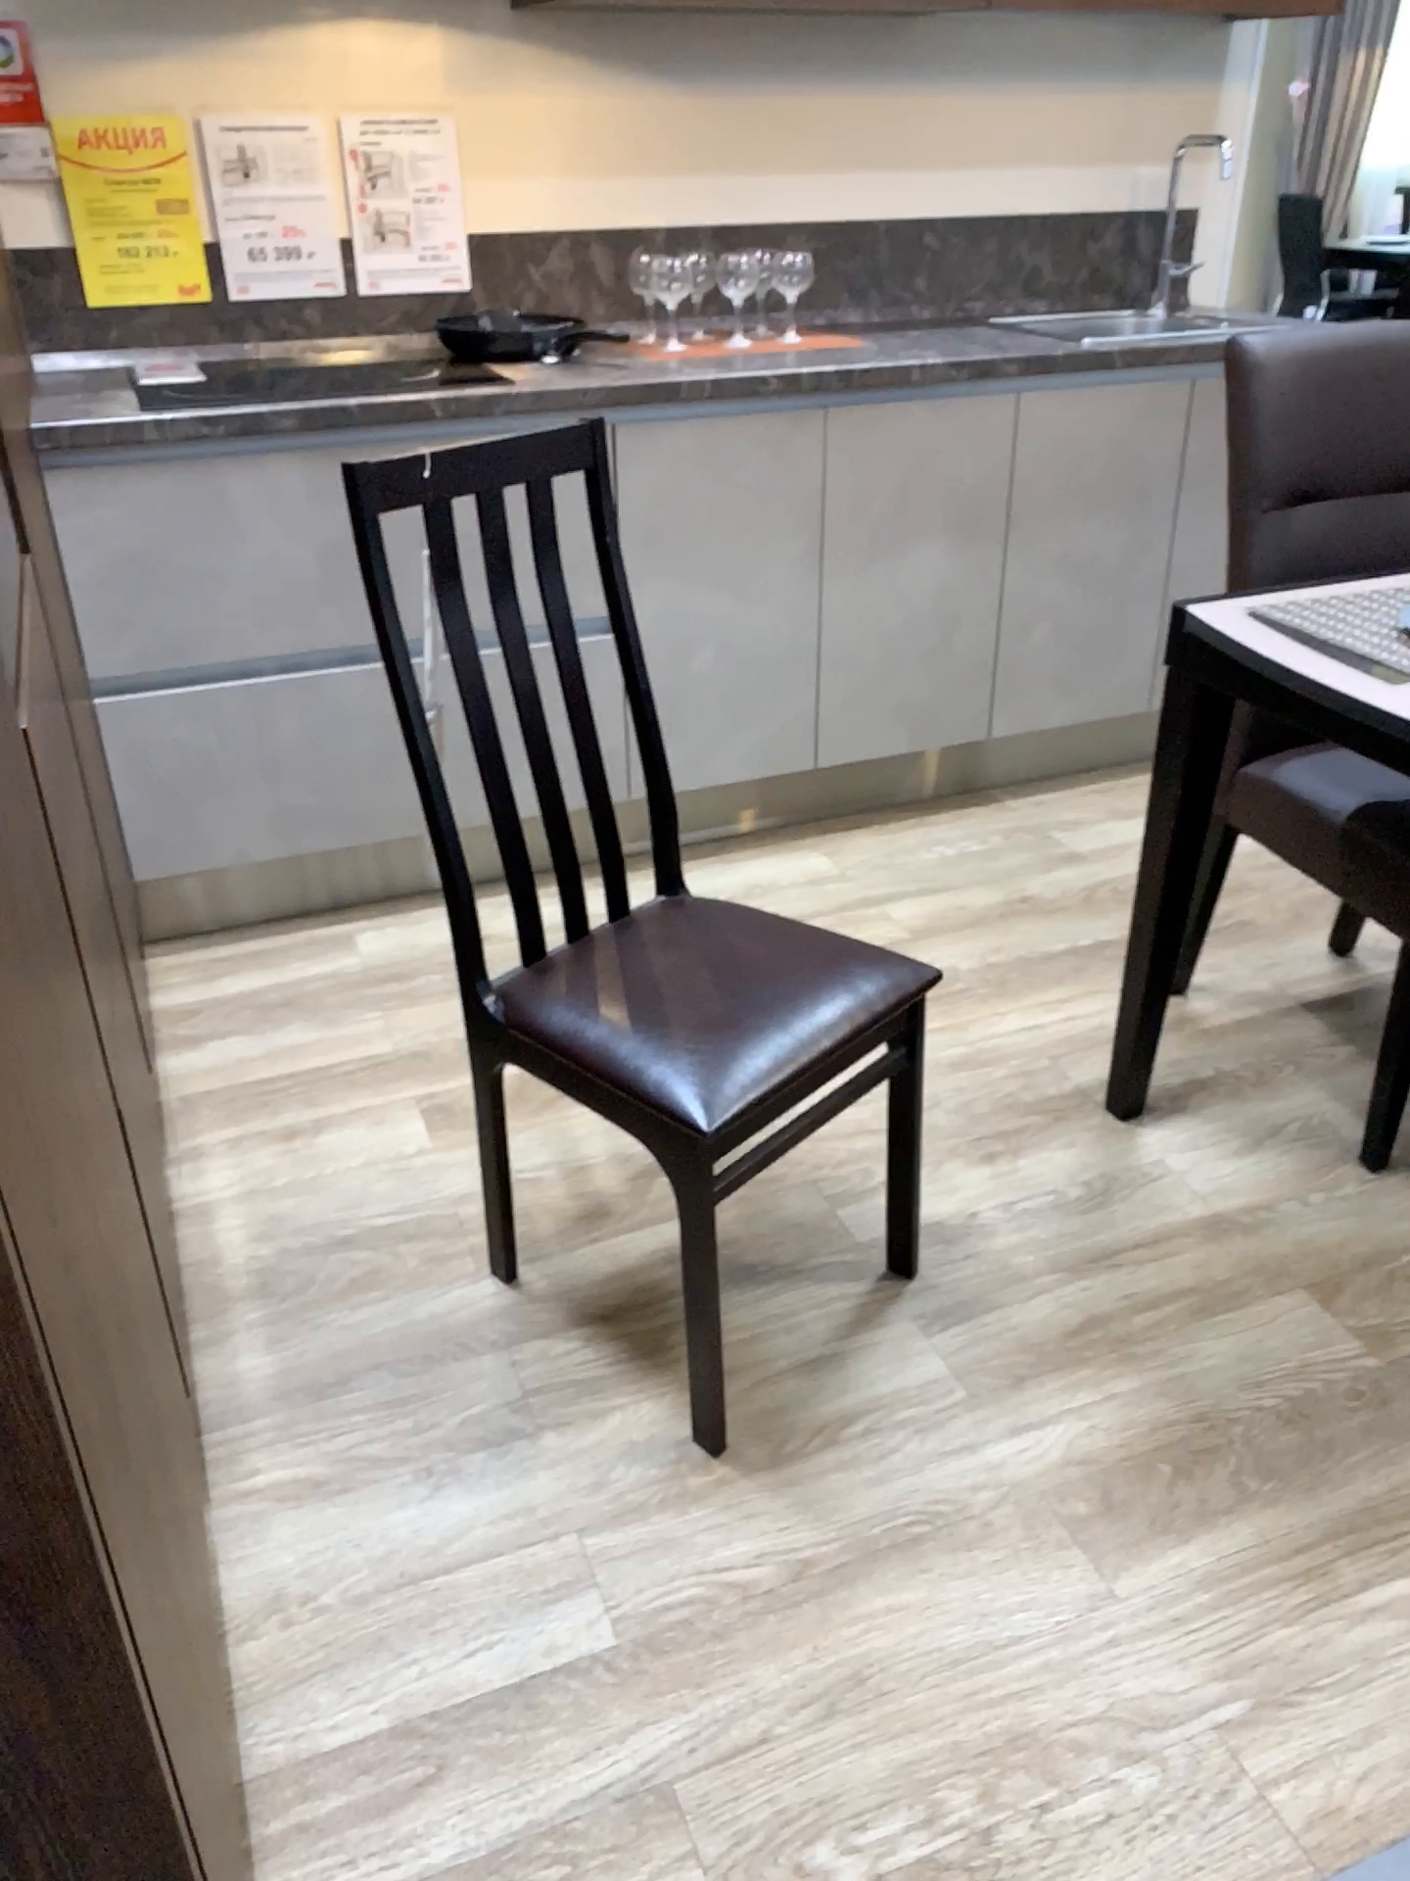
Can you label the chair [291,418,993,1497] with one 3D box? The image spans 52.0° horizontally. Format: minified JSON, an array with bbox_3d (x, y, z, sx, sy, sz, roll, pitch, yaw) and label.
[{"bbox_3d":[-0.054,-0.002,1.629,0.521,1.014,0.432,22,36,36],"label":"chair"}]
